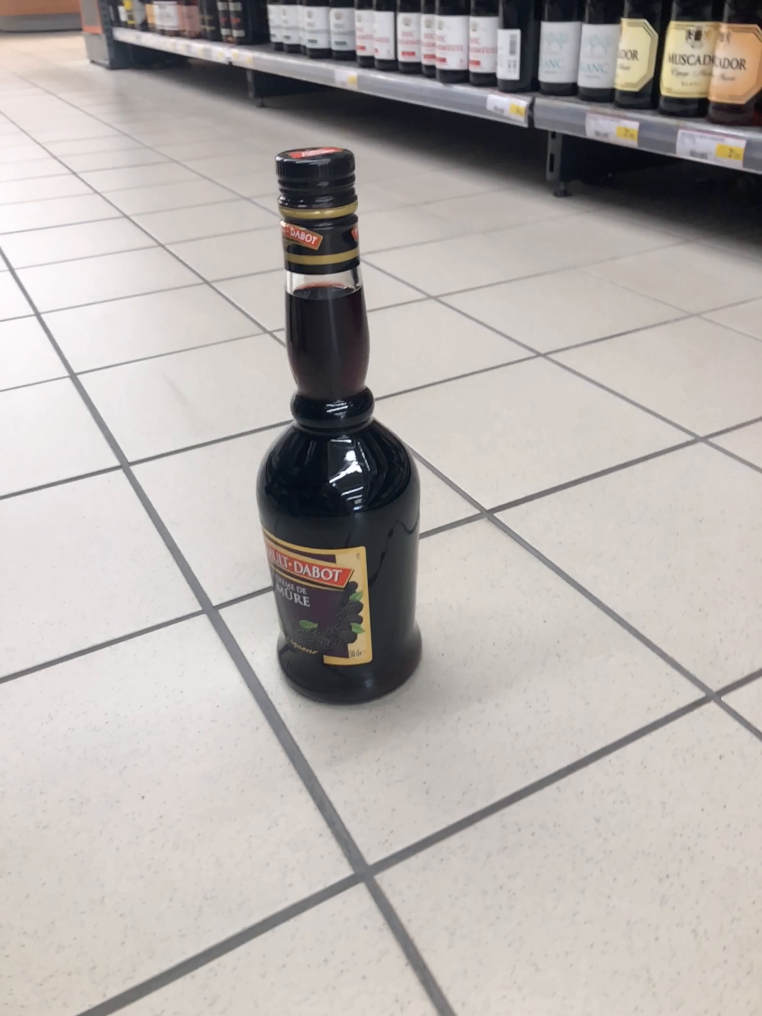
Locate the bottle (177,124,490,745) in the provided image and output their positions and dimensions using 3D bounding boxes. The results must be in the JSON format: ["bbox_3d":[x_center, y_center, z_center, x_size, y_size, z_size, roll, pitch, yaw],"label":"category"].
[{"bbox_3d":[-0.014,-0.029,0.387,0.090,0.258,0.080,26,41,38],"label":"bottle"}]
